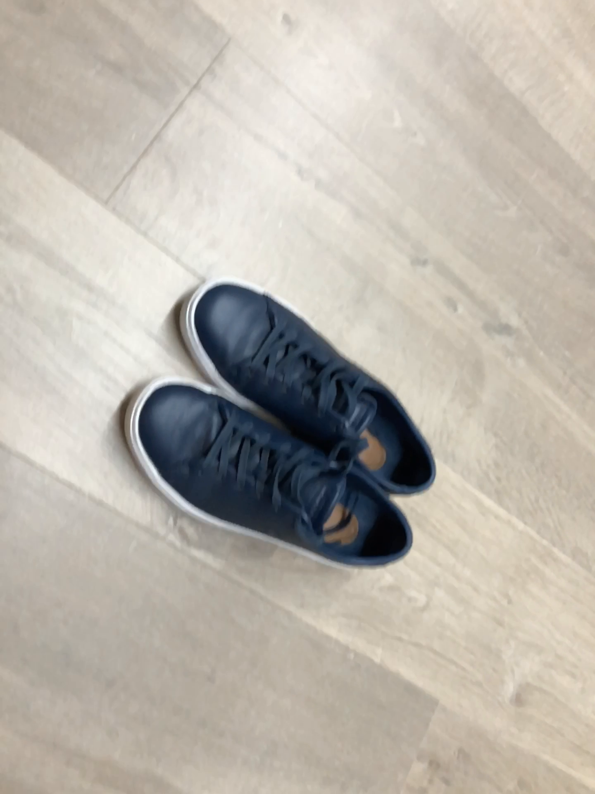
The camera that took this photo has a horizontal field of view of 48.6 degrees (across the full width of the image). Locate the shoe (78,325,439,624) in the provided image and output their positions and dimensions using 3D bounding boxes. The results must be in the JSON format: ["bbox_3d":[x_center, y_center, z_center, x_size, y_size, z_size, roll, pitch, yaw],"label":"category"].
[{"bbox_3d":[-0.024,0.063,0.500,0.247,0.080,0.100,35,73,-20],"label":"shoe"}]

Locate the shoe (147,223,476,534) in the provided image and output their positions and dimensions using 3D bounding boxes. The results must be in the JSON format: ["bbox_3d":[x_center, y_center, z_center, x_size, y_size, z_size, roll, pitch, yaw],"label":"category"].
[{"bbox_3d":[0.016,-0.007,0.531,0.247,0.080,0.100,41,71,-18],"label":"shoe"}]
